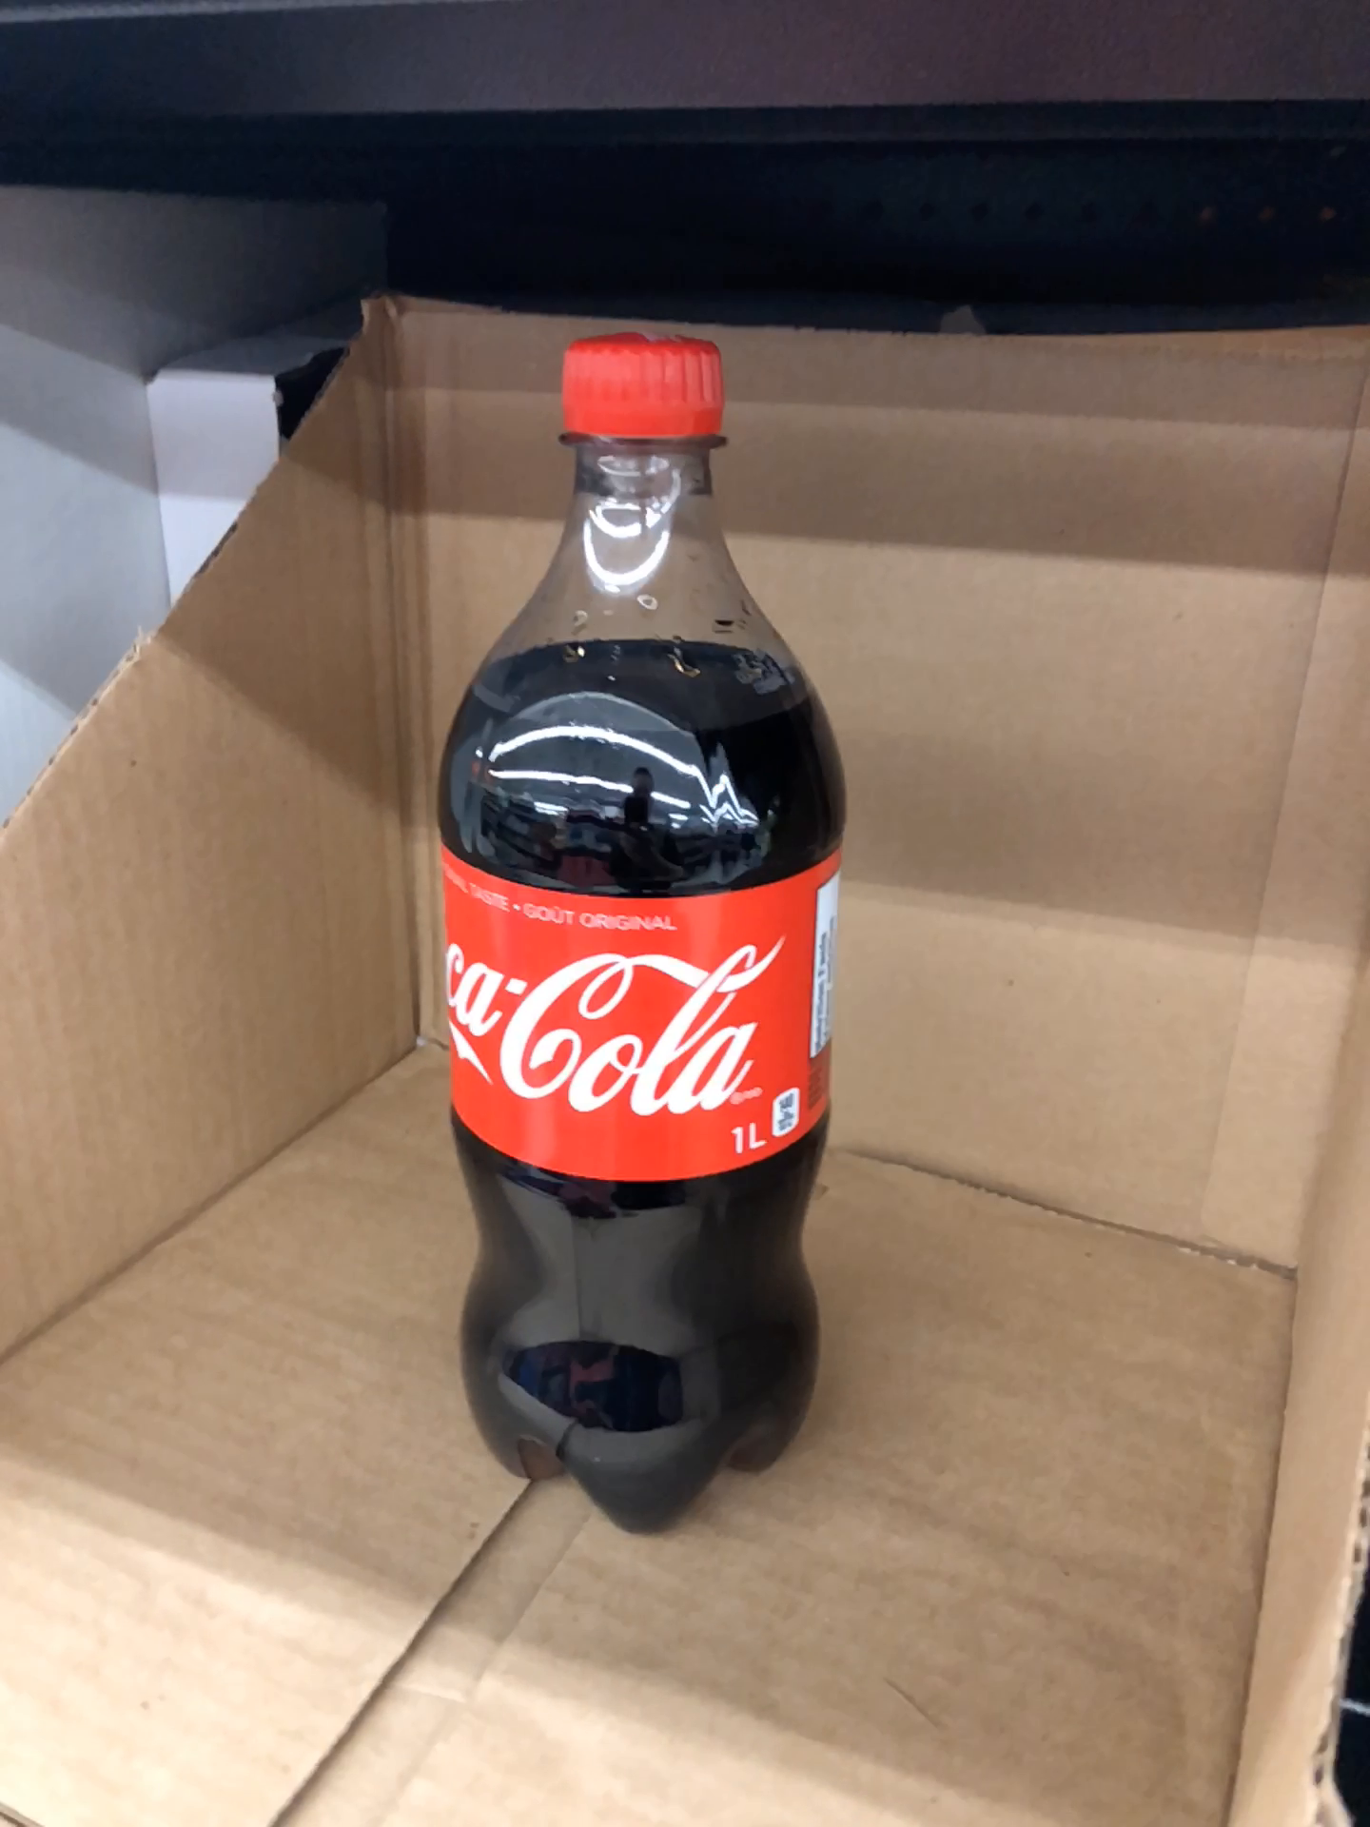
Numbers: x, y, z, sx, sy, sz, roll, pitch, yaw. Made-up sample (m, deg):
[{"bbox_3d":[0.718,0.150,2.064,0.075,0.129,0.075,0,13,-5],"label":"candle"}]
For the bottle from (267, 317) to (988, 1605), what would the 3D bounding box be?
[{"bbox_3d":[-0.010,0.007,0.333,0.100,0.248,0.090,16,29,31],"label":"bottle"}]
